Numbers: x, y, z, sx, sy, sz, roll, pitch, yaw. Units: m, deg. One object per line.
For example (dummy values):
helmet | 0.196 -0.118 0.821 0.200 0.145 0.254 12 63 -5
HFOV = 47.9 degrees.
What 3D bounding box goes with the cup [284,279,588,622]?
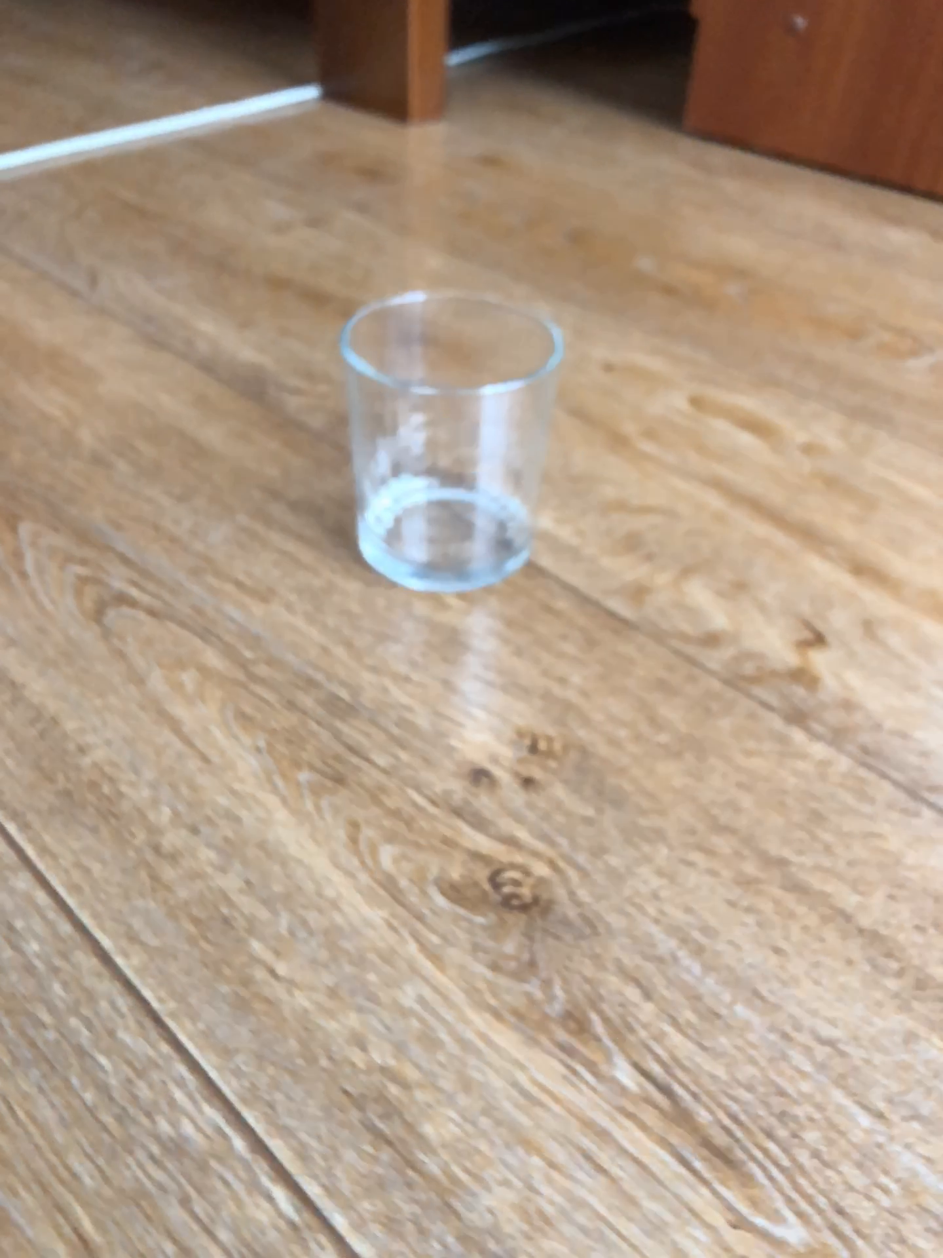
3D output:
cup | -0.011 -0.066 0.380 0.075 0.079 0.078 2 39 -1
